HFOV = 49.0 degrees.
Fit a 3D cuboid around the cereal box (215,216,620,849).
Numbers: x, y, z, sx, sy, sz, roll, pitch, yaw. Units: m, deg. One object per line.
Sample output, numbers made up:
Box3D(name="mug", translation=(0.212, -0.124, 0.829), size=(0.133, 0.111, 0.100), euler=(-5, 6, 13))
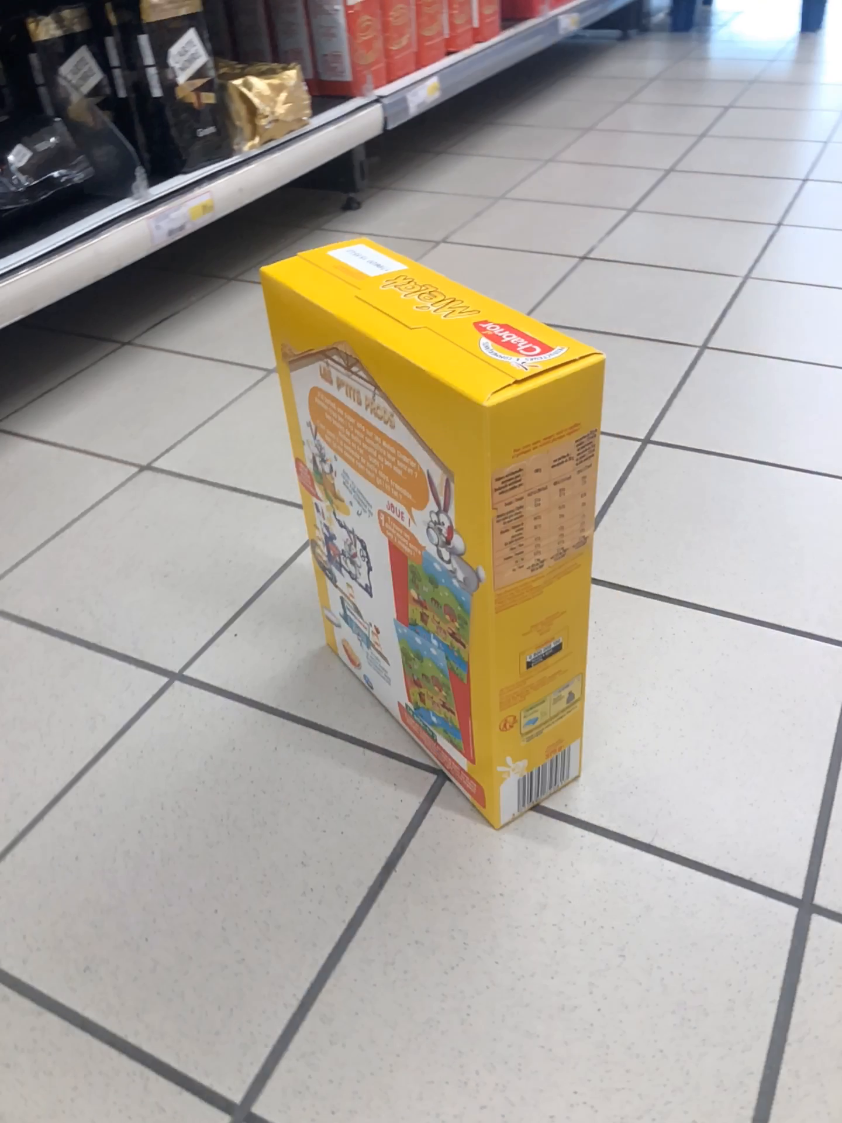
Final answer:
Box3D(name="cereal box", translation=(-0.005, -0.018, 0.483), size=(0.070, 0.258, 0.210), euler=(-26, 42, -25))
